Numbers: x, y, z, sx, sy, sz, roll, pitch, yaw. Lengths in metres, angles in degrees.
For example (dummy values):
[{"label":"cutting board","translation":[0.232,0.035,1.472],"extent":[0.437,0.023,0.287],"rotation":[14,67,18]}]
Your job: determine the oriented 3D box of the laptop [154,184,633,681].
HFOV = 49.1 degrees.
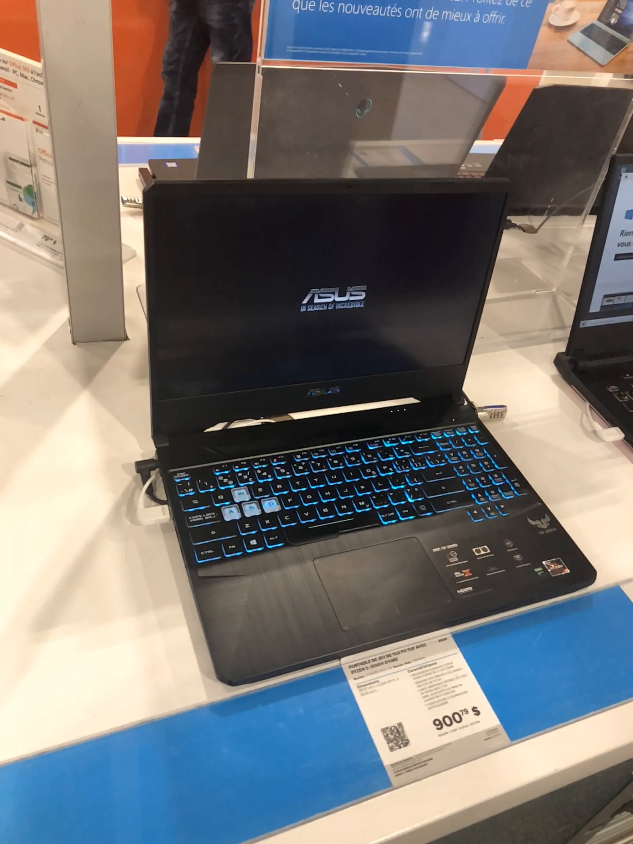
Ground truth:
[{"label":"laptop","translation":[0.062,-0.024,0.600],"extent":[0.350,0.235,0.302],"rotation":[-8,44,-21]}]
